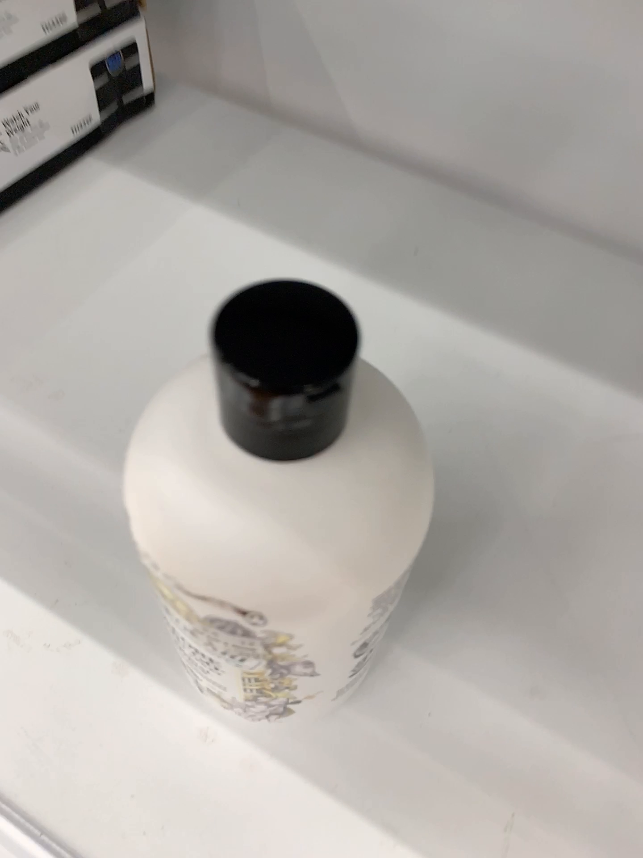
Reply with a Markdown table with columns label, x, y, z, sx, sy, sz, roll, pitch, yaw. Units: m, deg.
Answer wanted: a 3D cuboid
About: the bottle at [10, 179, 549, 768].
| label | x | y | z | sx | sy | sz | roll | pitch | yaw |
| --- | --- | --- | --- | --- | --- | --- | --- | --- | --- |
| bottle | -0.011 | 0.028 | 0.187 | 0.073 | 0.153 | 0.070 | 2 | 55 | -3 |
